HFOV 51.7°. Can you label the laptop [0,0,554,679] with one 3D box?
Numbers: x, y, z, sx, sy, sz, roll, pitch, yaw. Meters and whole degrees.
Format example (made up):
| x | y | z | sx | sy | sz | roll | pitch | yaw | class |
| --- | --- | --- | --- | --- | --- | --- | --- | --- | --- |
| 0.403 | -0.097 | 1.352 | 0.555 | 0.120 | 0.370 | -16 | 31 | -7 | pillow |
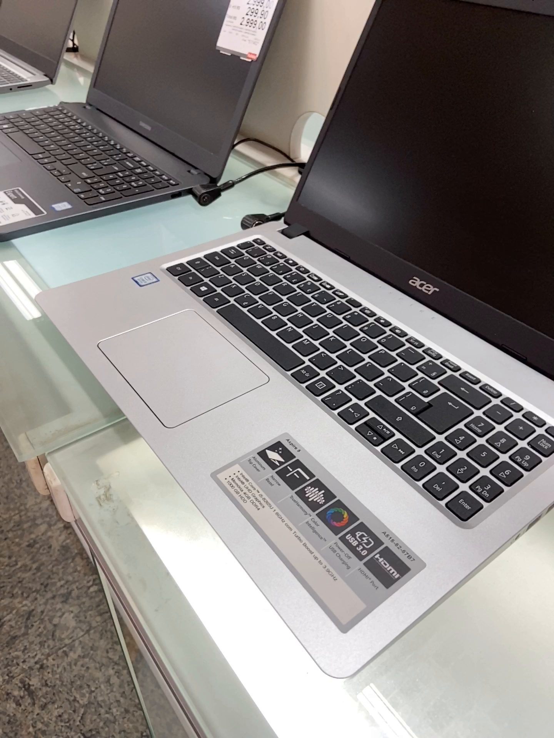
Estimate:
| x | y | z | sx | sy | sz | roll | pitch | yaw | class |
| --- | --- | --- | --- | --- | --- | --- | --- | --- | --- |
| 0.063 | -0.115 | 0.376 | 0.373 | 0.205 | 0.368 | -25 | 46 | -28 | laptop |
